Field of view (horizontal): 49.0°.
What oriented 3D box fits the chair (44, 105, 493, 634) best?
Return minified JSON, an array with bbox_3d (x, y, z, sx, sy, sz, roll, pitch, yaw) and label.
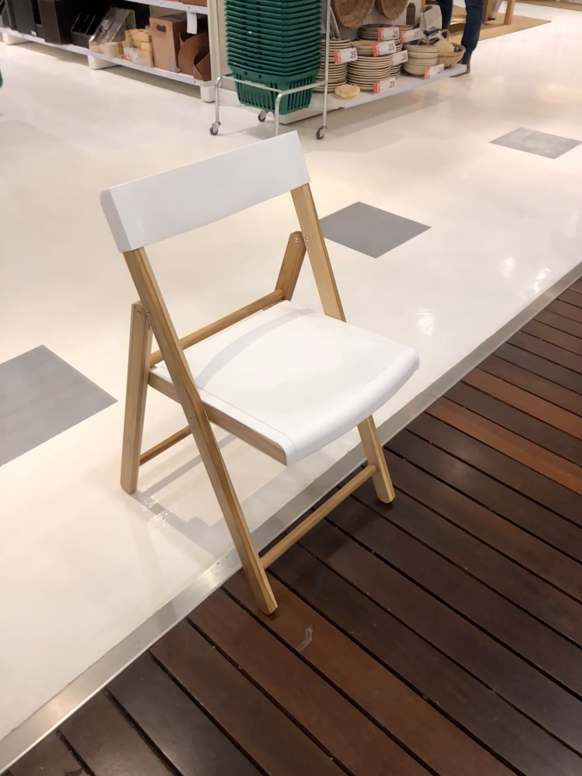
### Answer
[{"bbox_3d":[-0.051,-0.048,1.220,0.512,0.734,0.472,33,48,31],"label":"chair"}]
